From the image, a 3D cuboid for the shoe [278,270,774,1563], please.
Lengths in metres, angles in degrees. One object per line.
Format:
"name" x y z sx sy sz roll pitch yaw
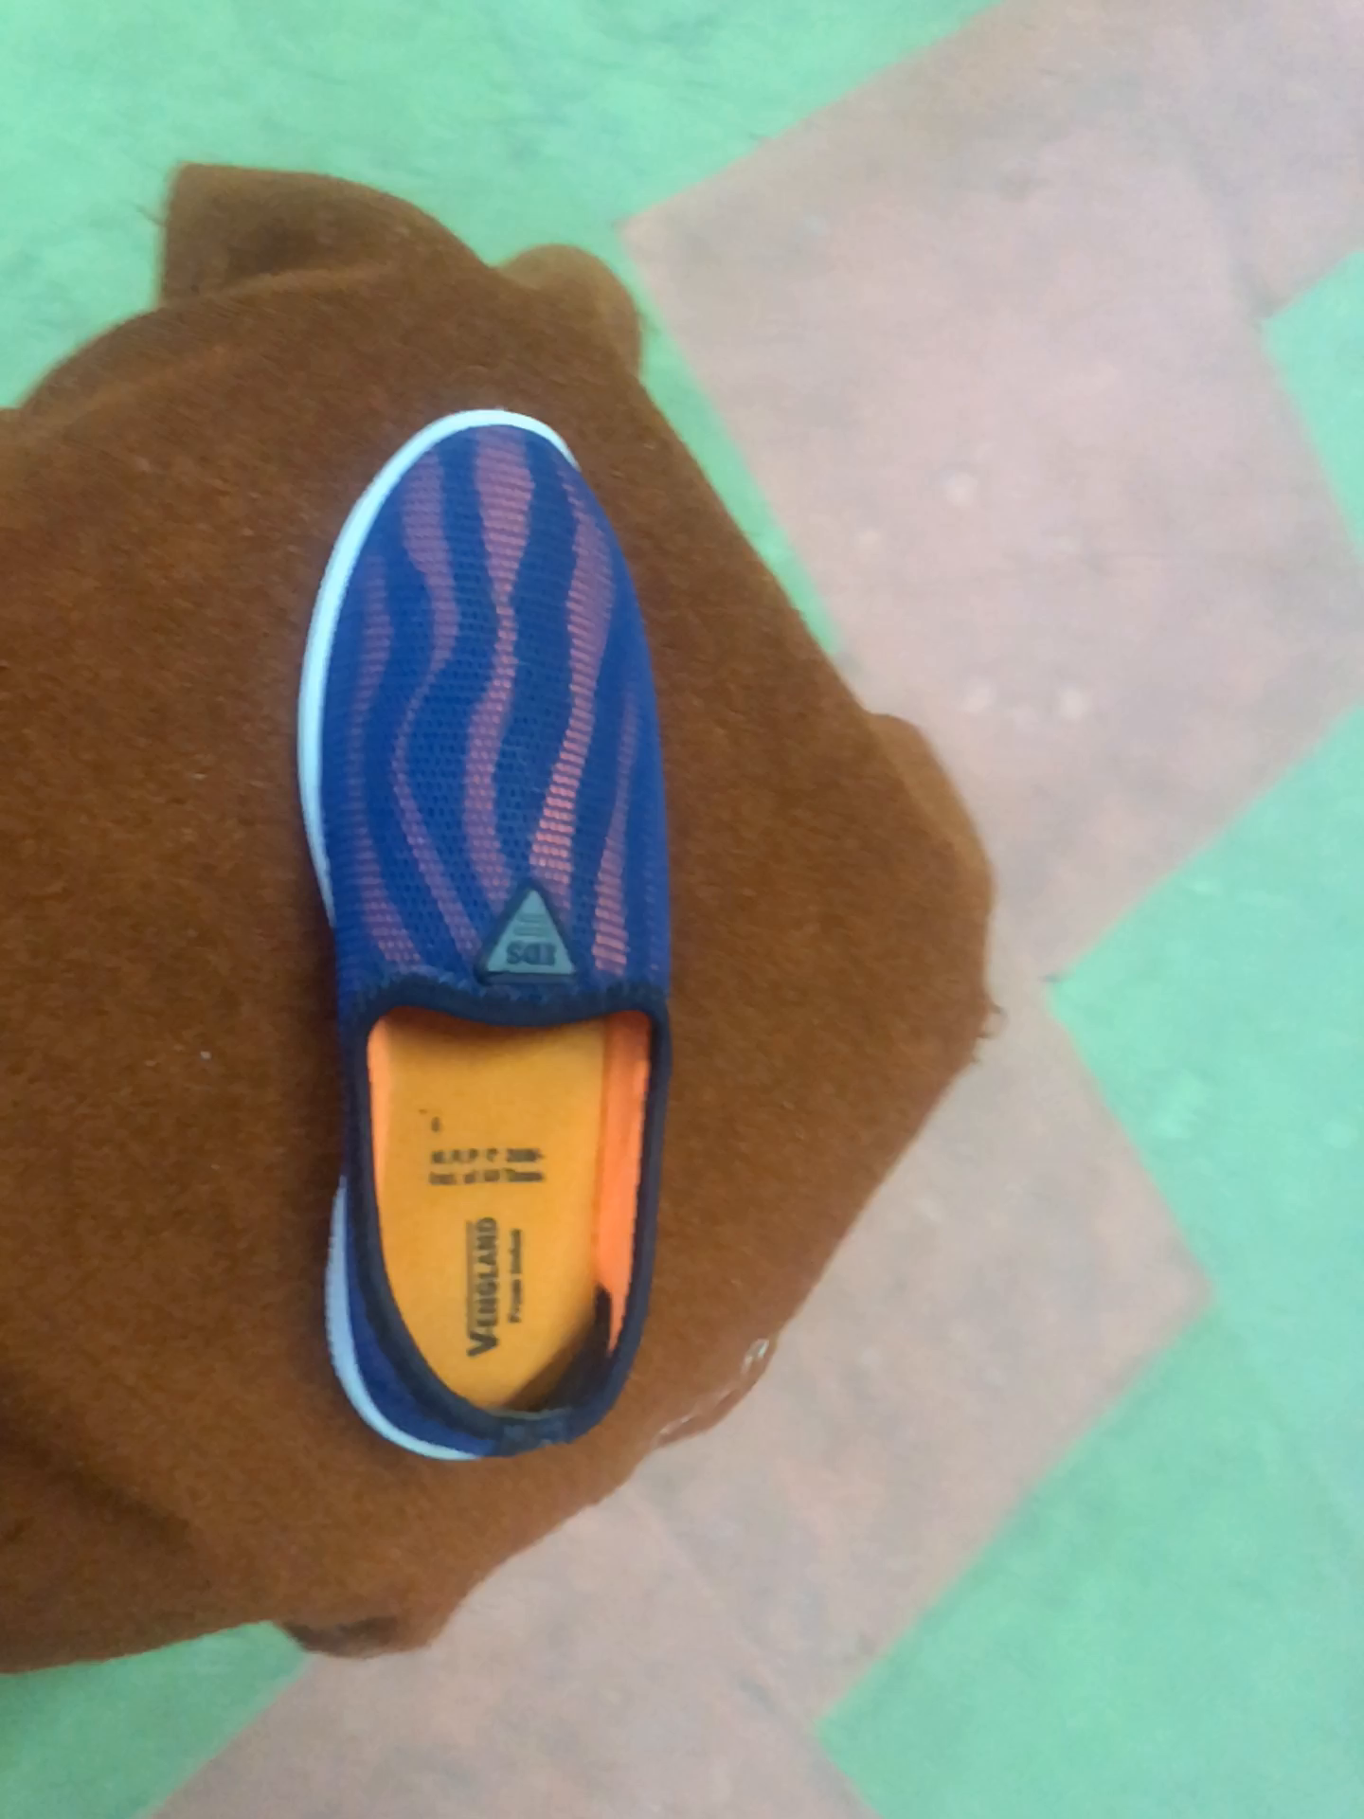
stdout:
"shoe" -0.039 0.002 0.353 0.090 0.070 0.260 1 92 -26
